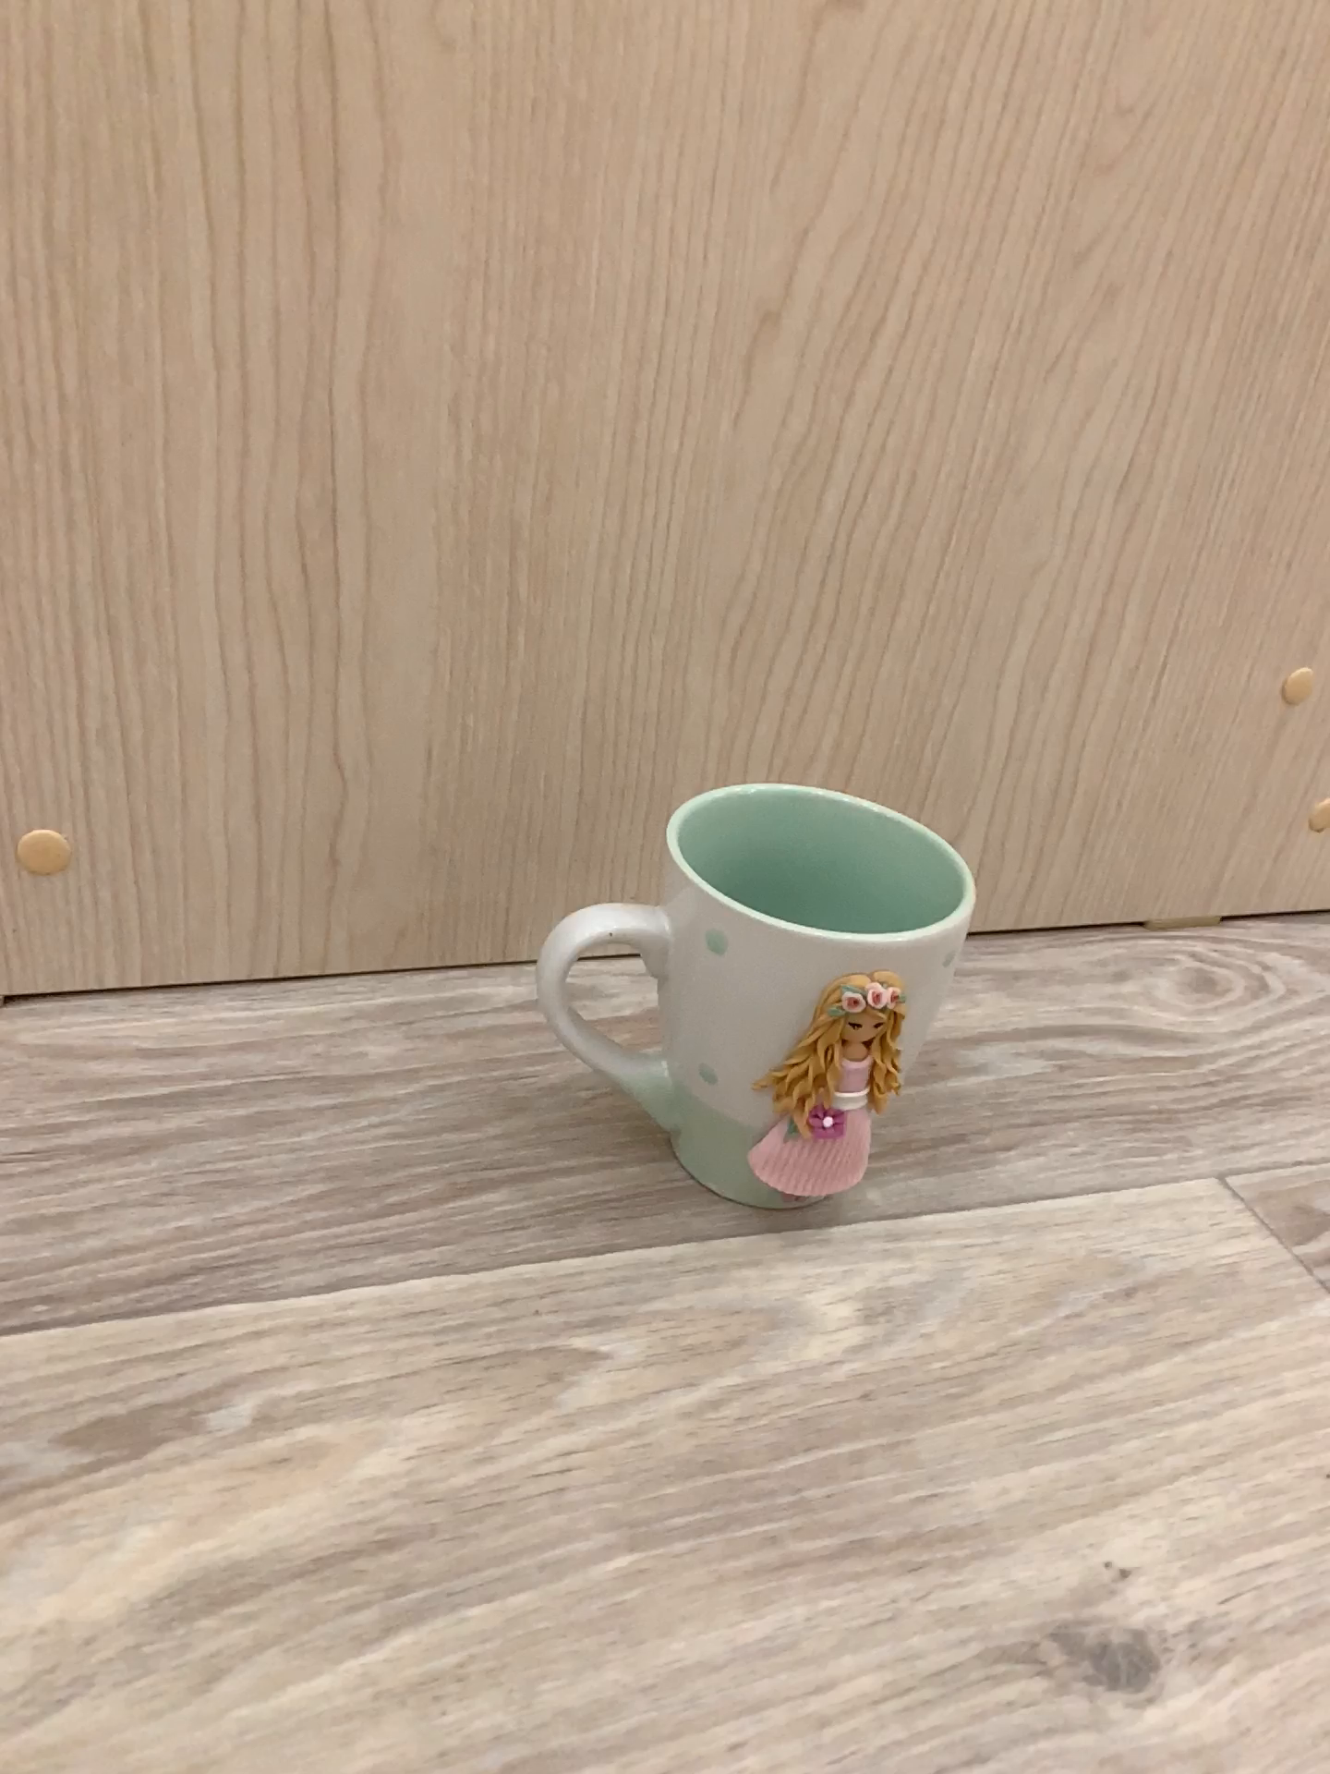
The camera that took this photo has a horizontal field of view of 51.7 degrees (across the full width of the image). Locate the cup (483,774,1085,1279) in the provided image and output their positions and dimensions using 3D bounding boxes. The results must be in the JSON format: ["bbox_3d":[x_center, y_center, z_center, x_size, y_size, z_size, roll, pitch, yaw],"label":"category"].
[{"bbox_3d":[0.022,0.028,0.345,0.112,0.080,0.093,-2,30,-20],"label":"cup"}]
